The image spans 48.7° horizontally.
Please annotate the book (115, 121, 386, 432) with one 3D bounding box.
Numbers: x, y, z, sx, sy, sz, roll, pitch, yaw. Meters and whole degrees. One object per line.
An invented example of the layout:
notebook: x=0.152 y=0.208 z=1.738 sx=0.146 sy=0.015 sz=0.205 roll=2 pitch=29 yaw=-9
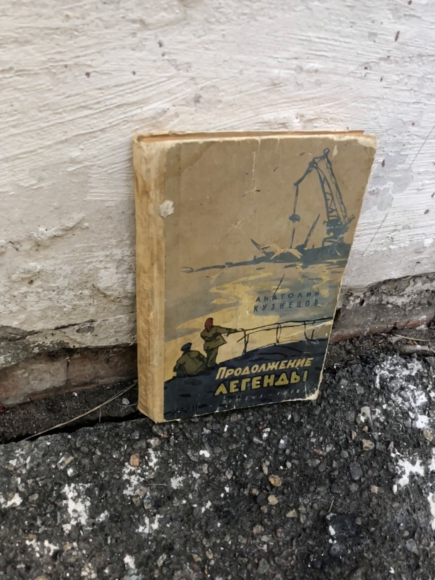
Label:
book: x=0.014 y=-0.004 z=0.289 sx=0.136 sy=0.181 sz=0.030 roll=-7 pitch=32 yaw=-18
